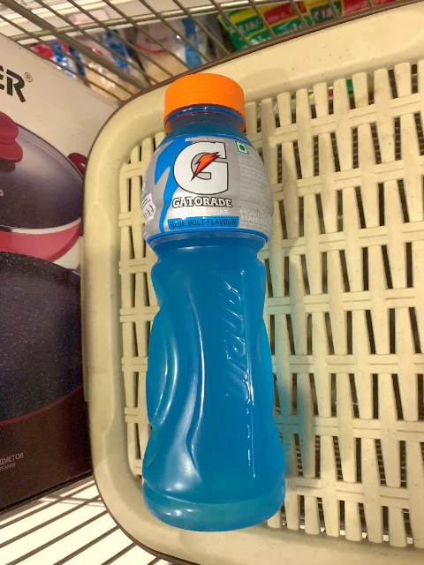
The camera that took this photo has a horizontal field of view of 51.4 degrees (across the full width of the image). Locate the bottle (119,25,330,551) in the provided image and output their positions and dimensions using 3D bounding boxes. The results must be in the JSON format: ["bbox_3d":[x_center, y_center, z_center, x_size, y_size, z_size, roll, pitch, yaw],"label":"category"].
[{"bbox_3d":[0.006,0.002,0.211,0.080,0.060,0.210,-3,86,9],"label":"bottle"}]
